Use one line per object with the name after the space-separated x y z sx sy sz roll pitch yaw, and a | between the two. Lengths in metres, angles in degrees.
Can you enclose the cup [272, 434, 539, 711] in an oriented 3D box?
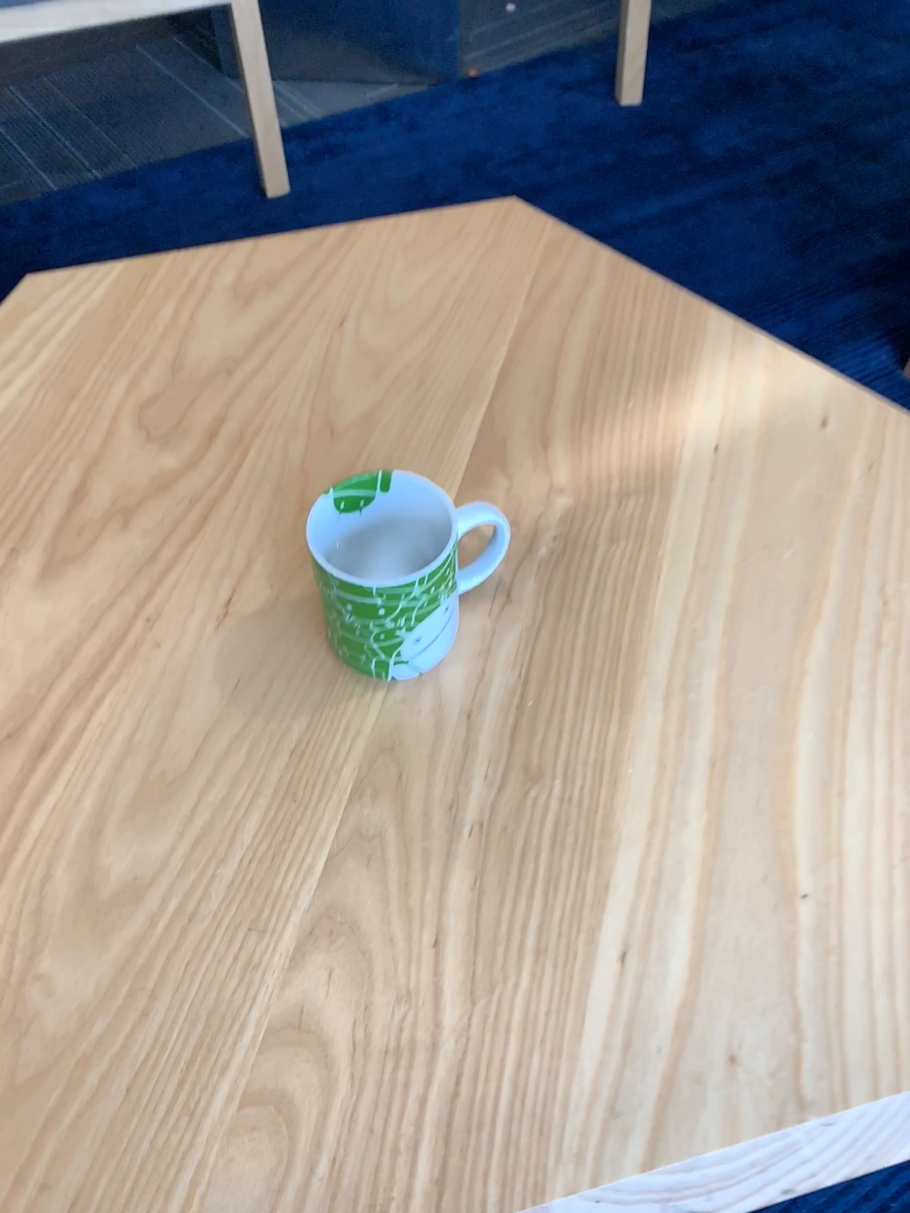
-0.027 -0.019 0.513 0.110 0.080 0.090 -21 58 -14 | cup
